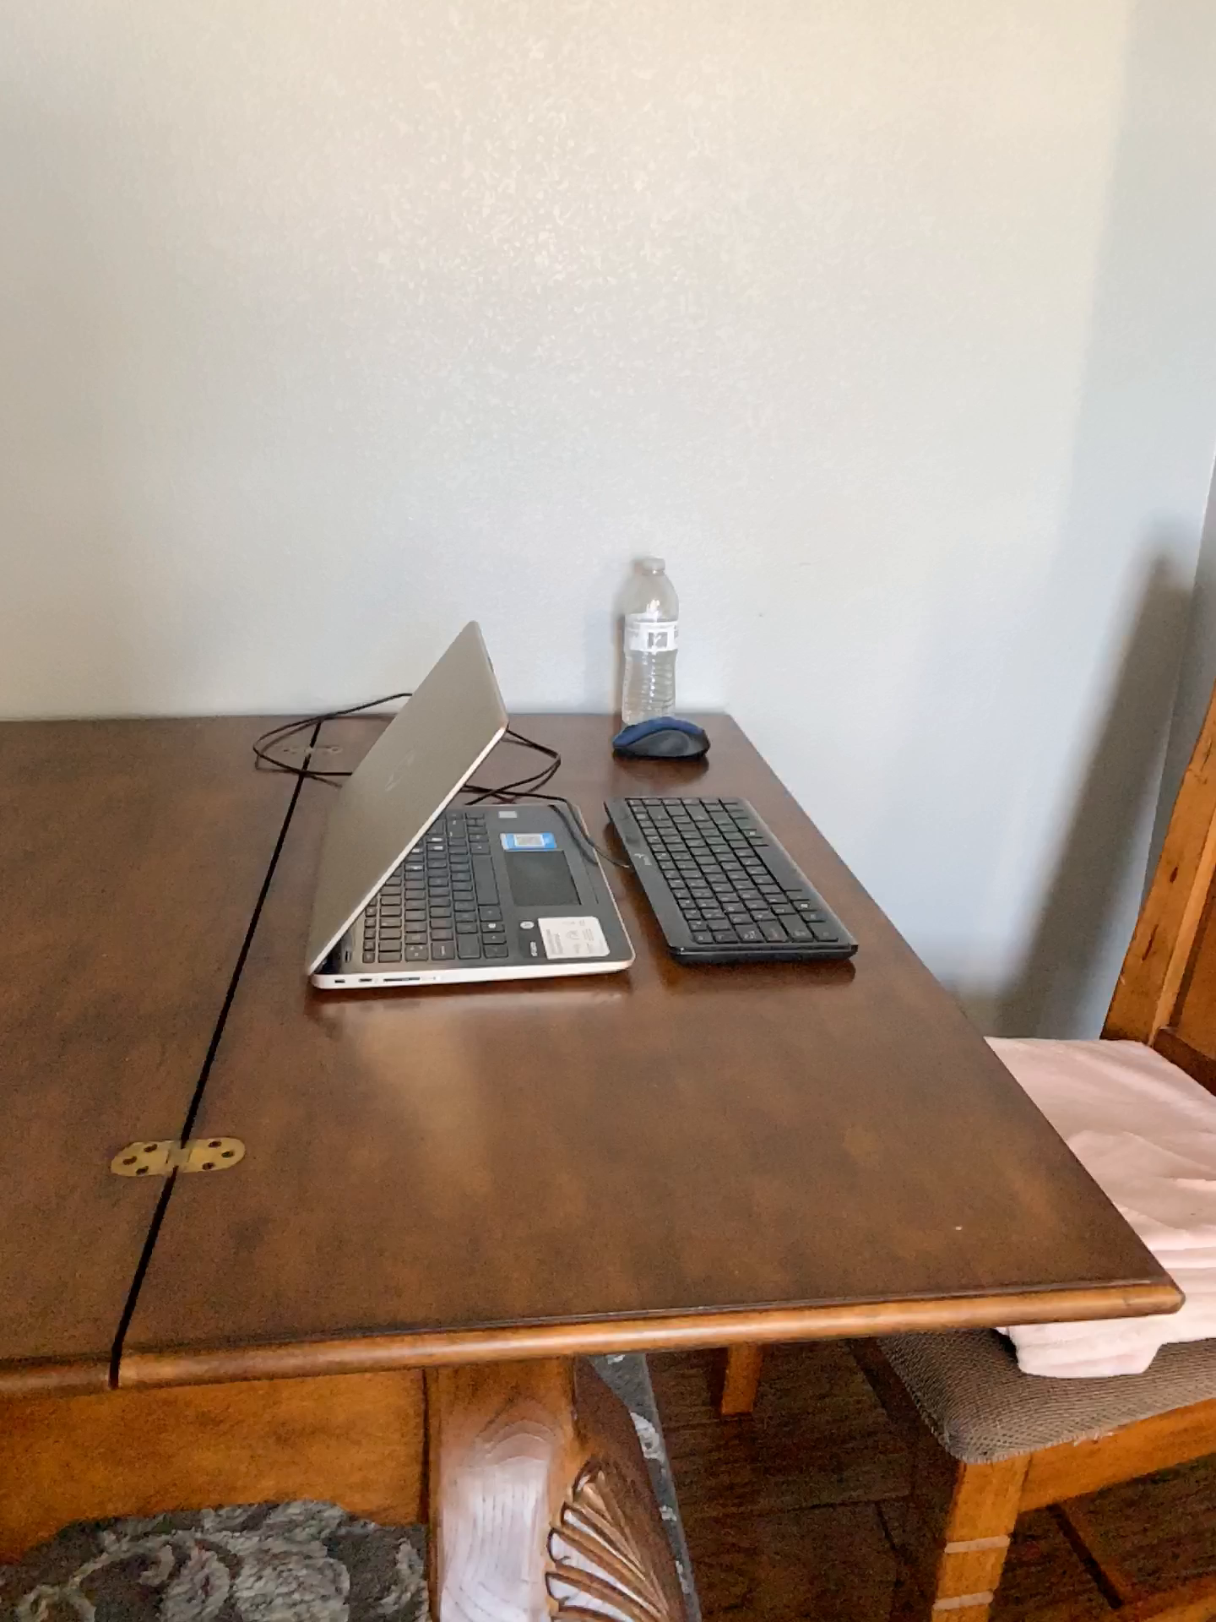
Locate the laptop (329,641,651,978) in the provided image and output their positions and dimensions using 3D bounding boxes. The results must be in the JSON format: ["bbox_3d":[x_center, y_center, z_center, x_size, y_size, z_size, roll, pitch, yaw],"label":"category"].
[{"bbox_3d":[-0.097,-0.015,0.933,0.198,0.157,0.304,0,19,-10],"label":"laptop"}]
